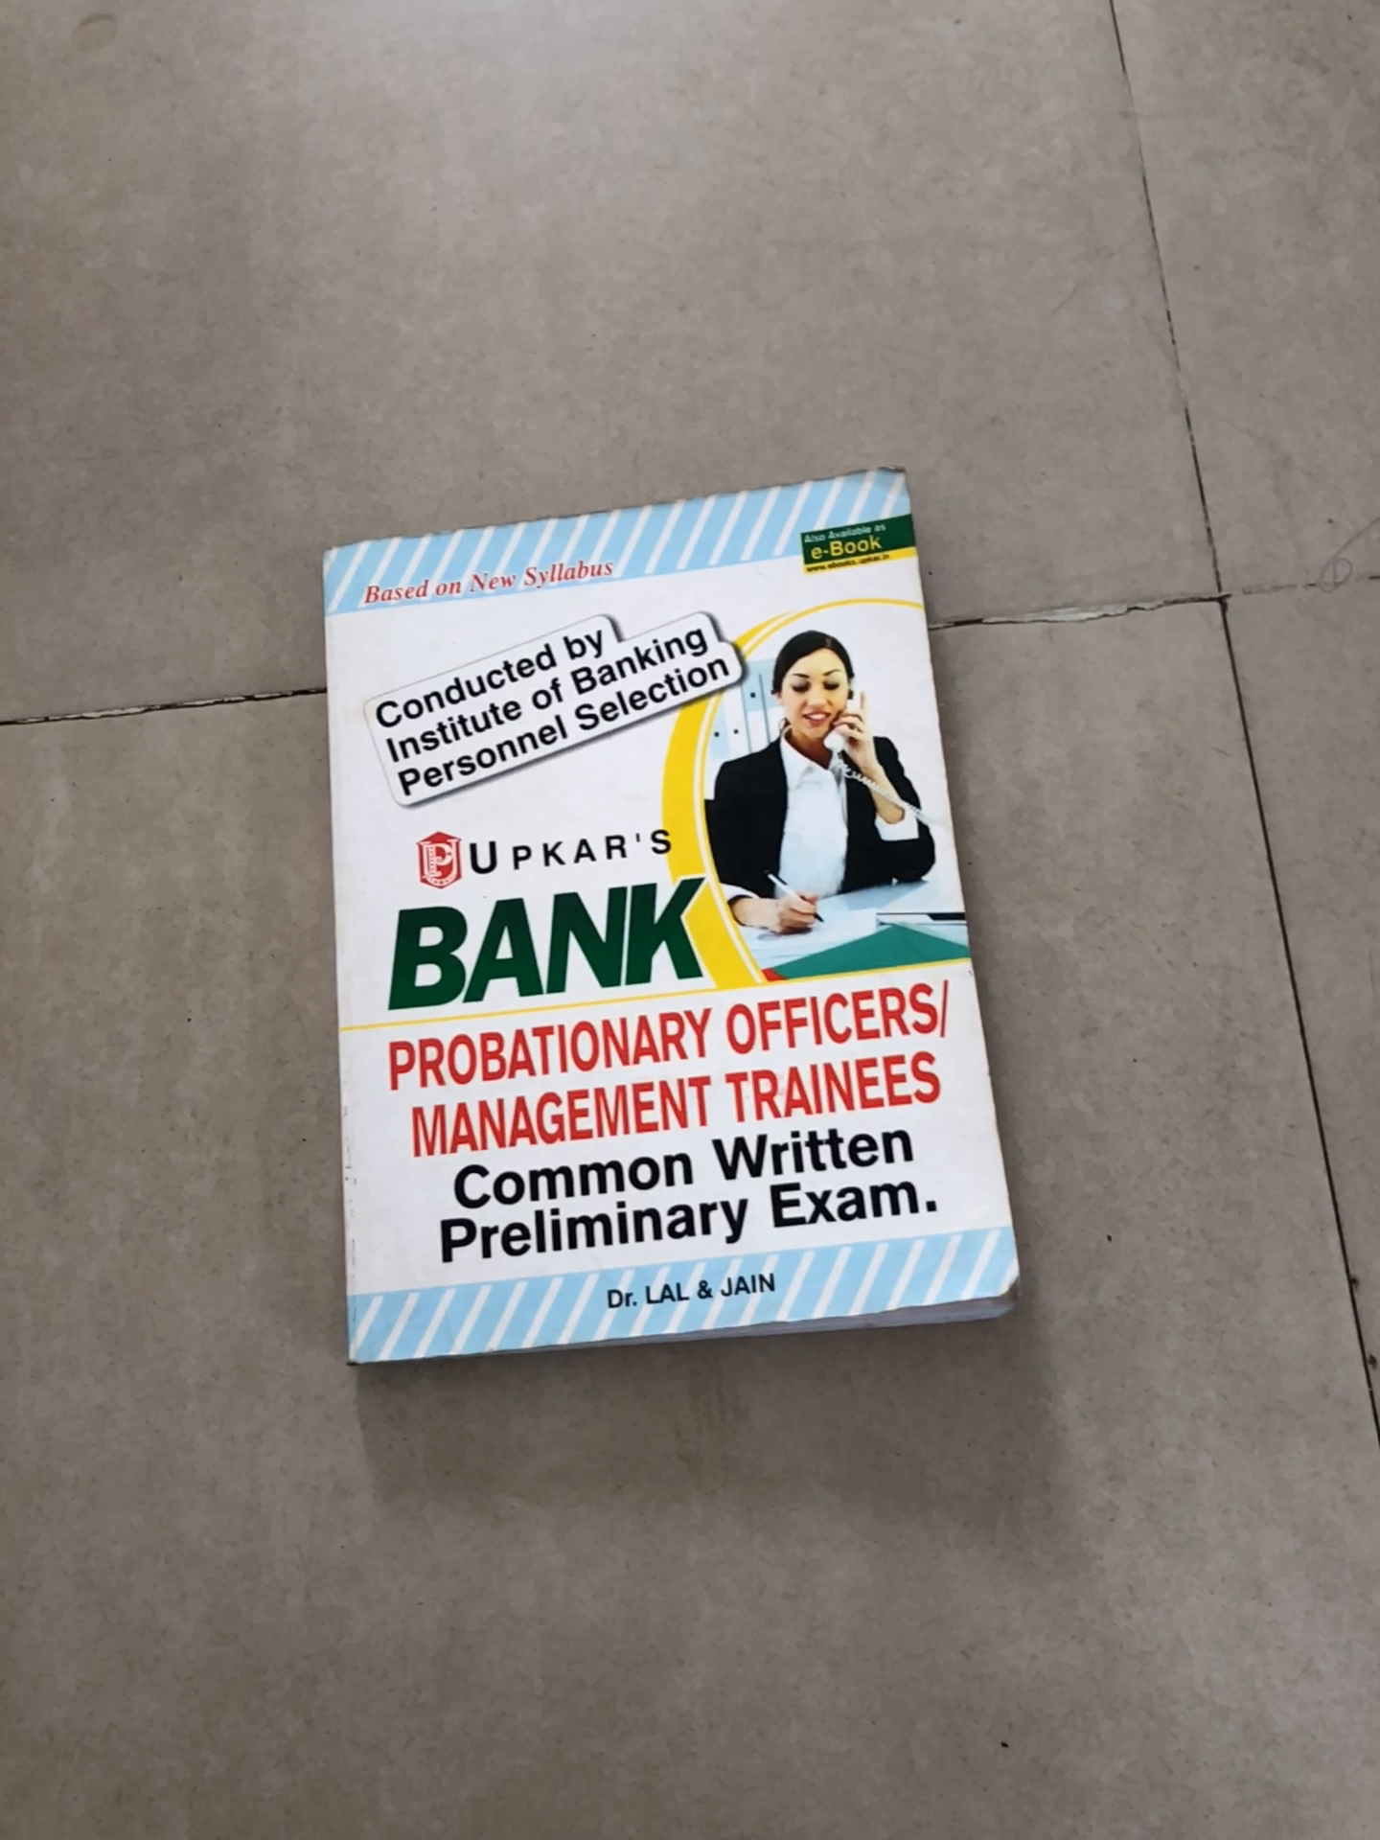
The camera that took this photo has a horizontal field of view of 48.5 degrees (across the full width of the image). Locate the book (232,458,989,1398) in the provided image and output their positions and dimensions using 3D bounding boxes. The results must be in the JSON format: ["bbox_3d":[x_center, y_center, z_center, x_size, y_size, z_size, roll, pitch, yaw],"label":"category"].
[{"bbox_3d":[-0.026,0.000,0.410,0.180,0.040,0.230,-5,77,3],"label":"book"}]
